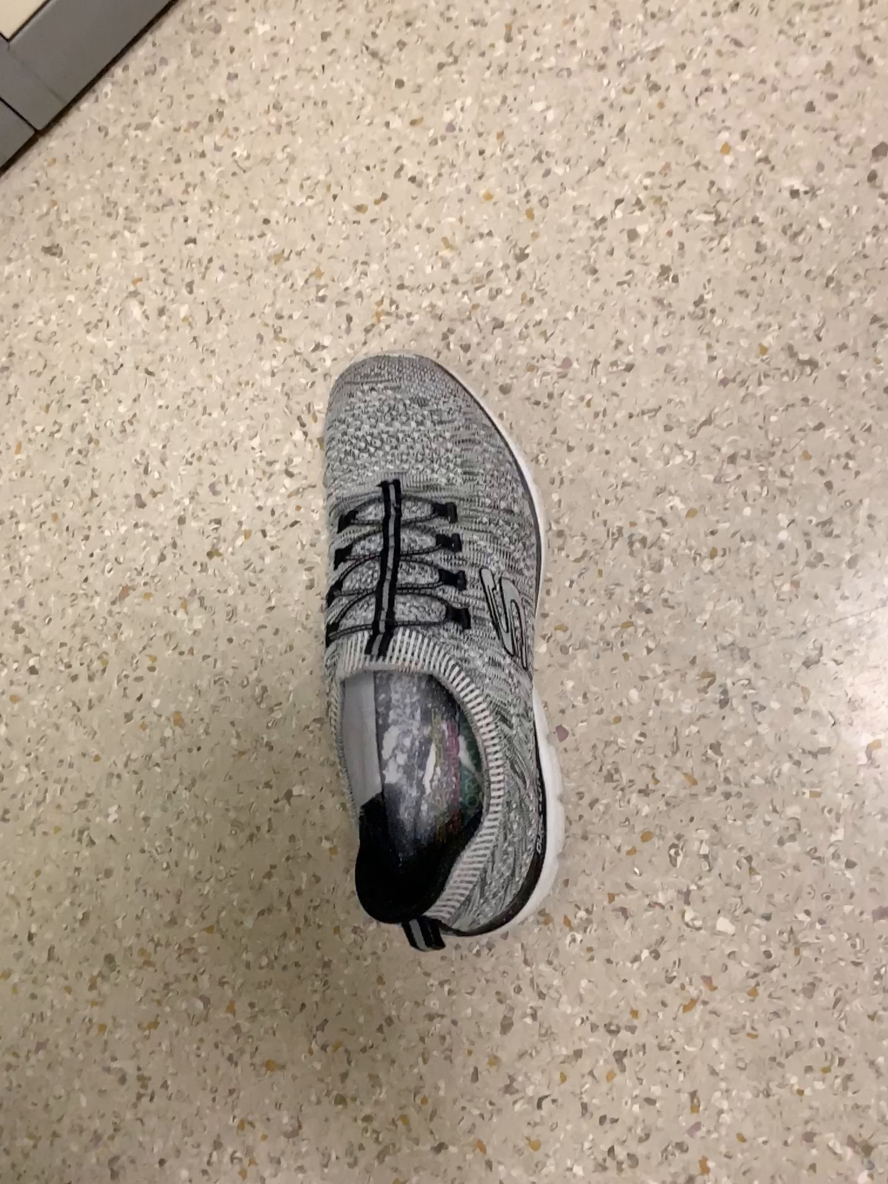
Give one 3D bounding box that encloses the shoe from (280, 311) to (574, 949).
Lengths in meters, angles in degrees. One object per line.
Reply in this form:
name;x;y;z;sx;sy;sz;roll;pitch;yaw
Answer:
shoe;-0.005;0.018;0.398;0.094;0.093;0.241;-5;82;14
